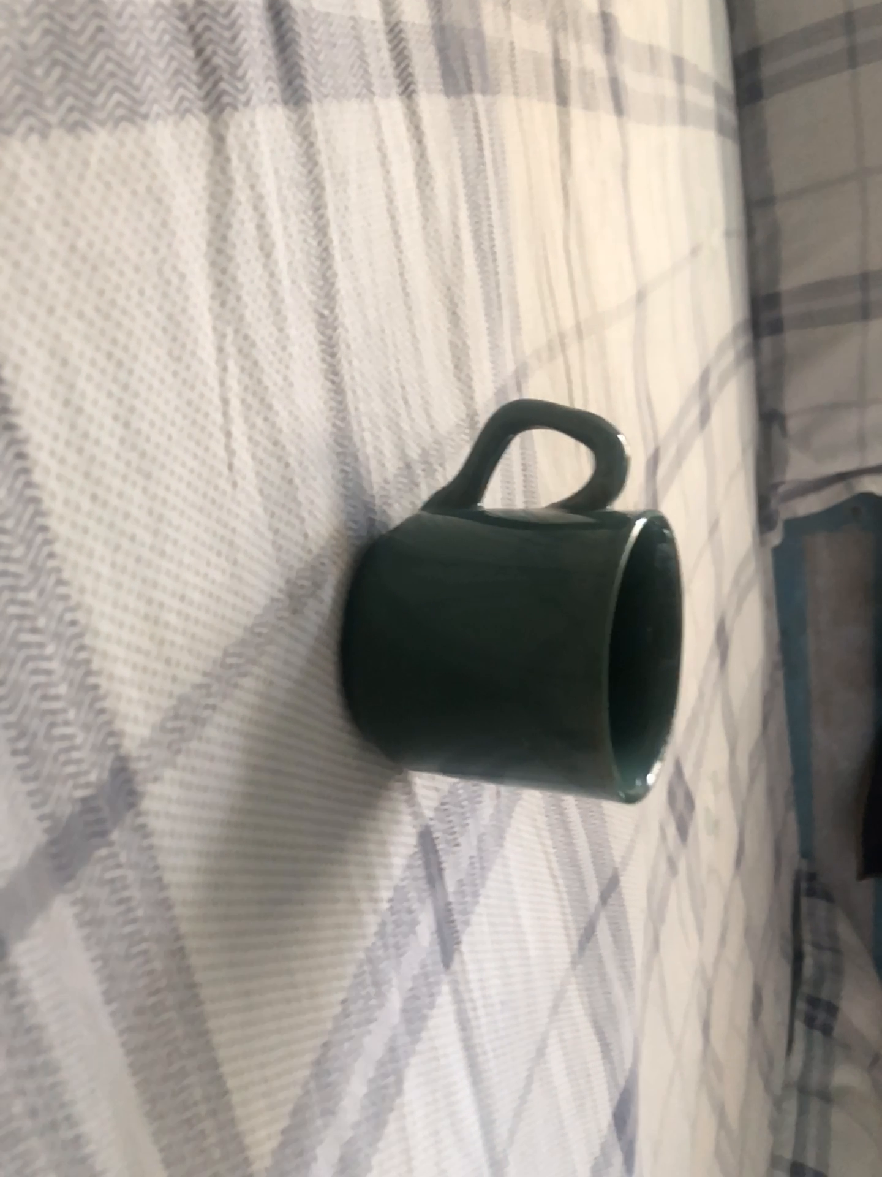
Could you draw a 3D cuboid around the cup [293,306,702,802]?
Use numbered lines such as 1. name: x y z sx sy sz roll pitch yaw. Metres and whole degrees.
1. cup: 0.019 -0.002 0.212 0.070 0.060 0.080 45 49 -58
